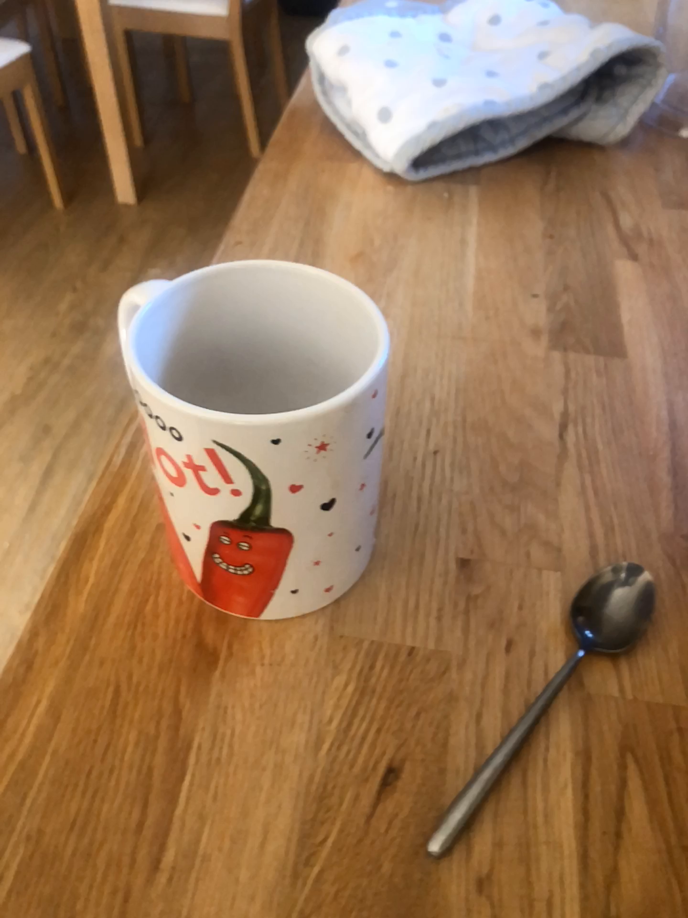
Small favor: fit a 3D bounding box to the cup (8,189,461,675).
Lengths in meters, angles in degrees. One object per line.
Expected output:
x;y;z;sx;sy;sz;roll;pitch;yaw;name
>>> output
-0.043;-0.017;0.308;0.097;0.109;0.136;-32;54;-28;cup
